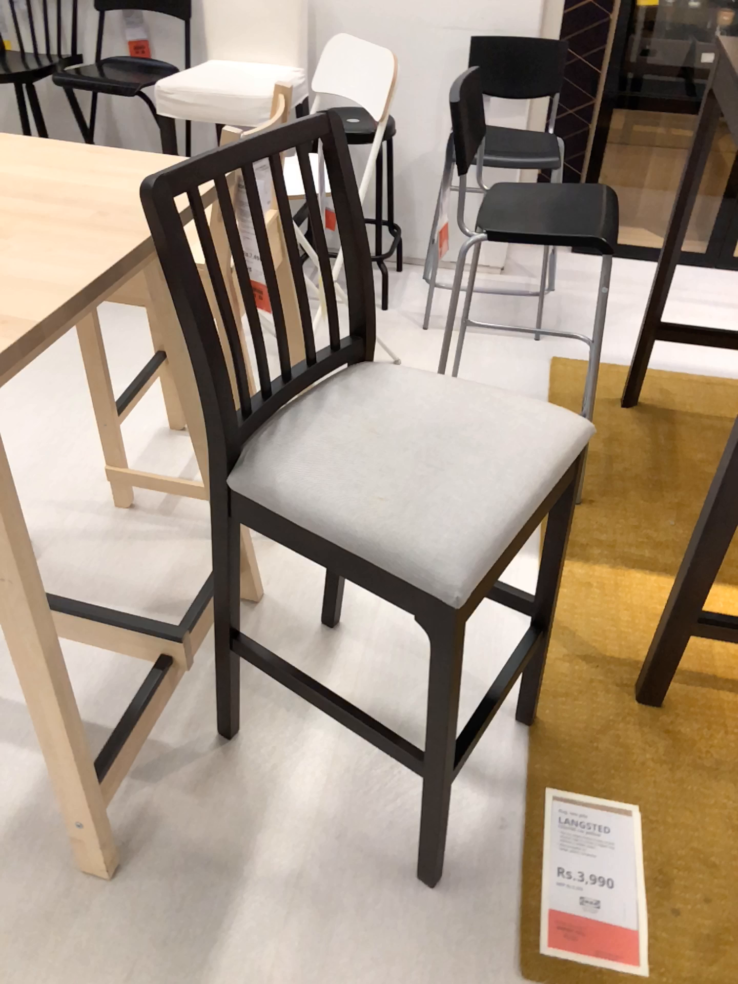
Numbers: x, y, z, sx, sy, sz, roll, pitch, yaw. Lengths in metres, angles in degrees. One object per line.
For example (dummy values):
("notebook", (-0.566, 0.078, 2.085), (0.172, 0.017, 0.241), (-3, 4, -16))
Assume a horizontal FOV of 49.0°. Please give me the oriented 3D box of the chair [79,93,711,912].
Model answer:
("chair", (0.034, 0.057, 1.284), (0.561, 1.093, 0.482), (23, 45, 24))
